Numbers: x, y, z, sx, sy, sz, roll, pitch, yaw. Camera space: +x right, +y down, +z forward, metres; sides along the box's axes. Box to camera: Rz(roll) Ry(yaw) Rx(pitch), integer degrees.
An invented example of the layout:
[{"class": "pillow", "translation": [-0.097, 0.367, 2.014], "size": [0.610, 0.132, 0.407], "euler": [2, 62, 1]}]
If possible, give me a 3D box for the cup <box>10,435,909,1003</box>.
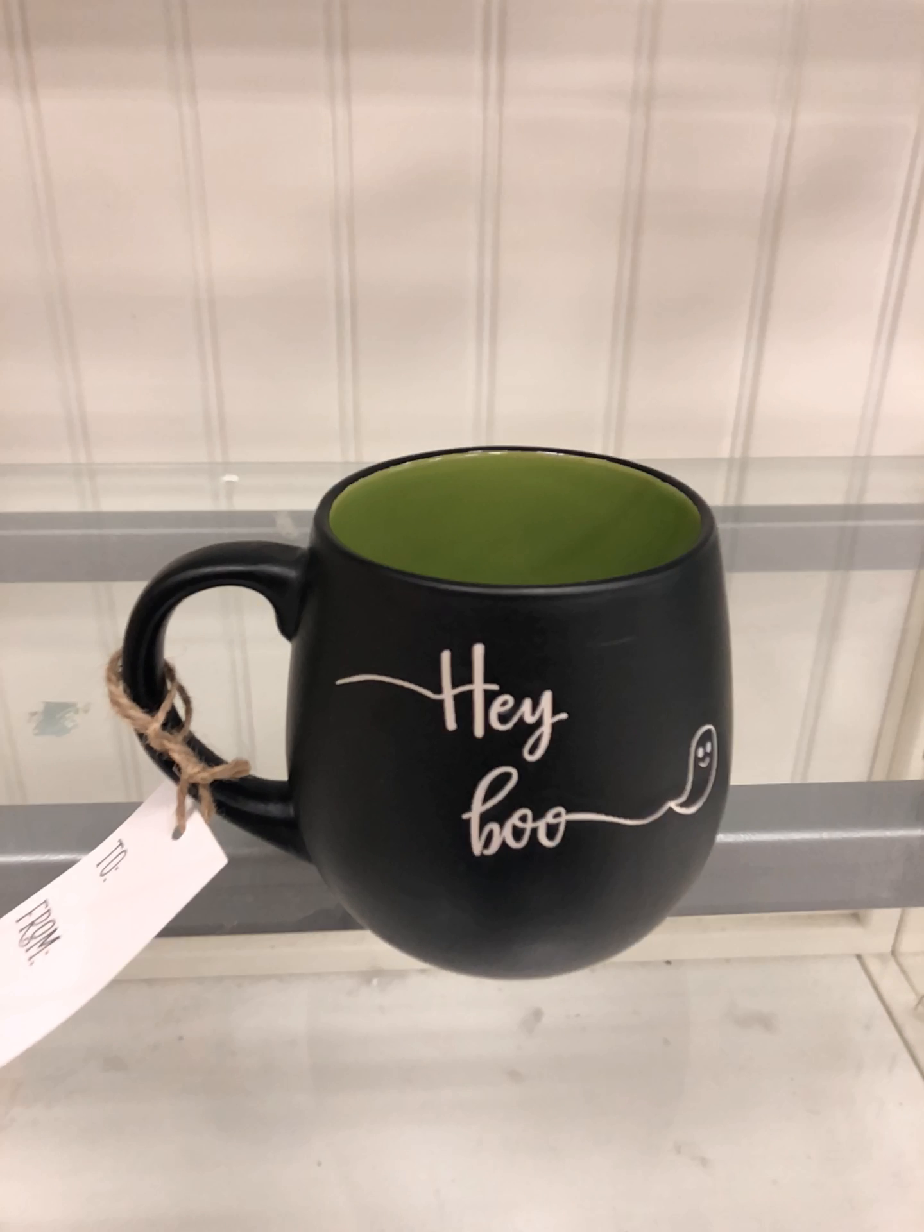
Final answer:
[{"class": "cup", "translation": [-0.002, 0.016, 0.229], "size": [0.149, 0.089, 0.091], "euler": [-1, 26, -3]}]
